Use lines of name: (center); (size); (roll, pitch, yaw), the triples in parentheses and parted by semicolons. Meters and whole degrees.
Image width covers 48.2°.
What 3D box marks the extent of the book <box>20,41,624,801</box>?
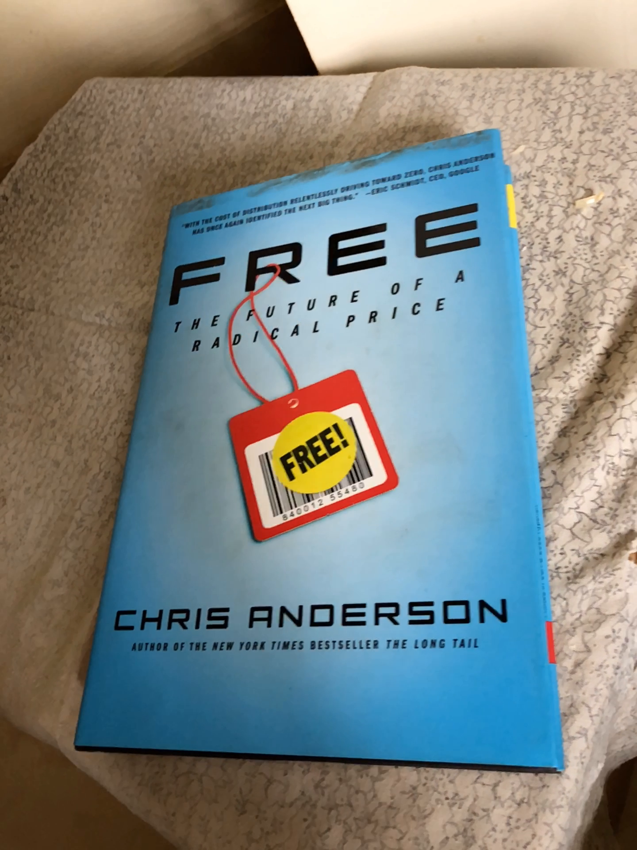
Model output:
book: (0.001, -0.016, 0.280); (0.180, 0.040, 0.280); (-9, 59, 22)
